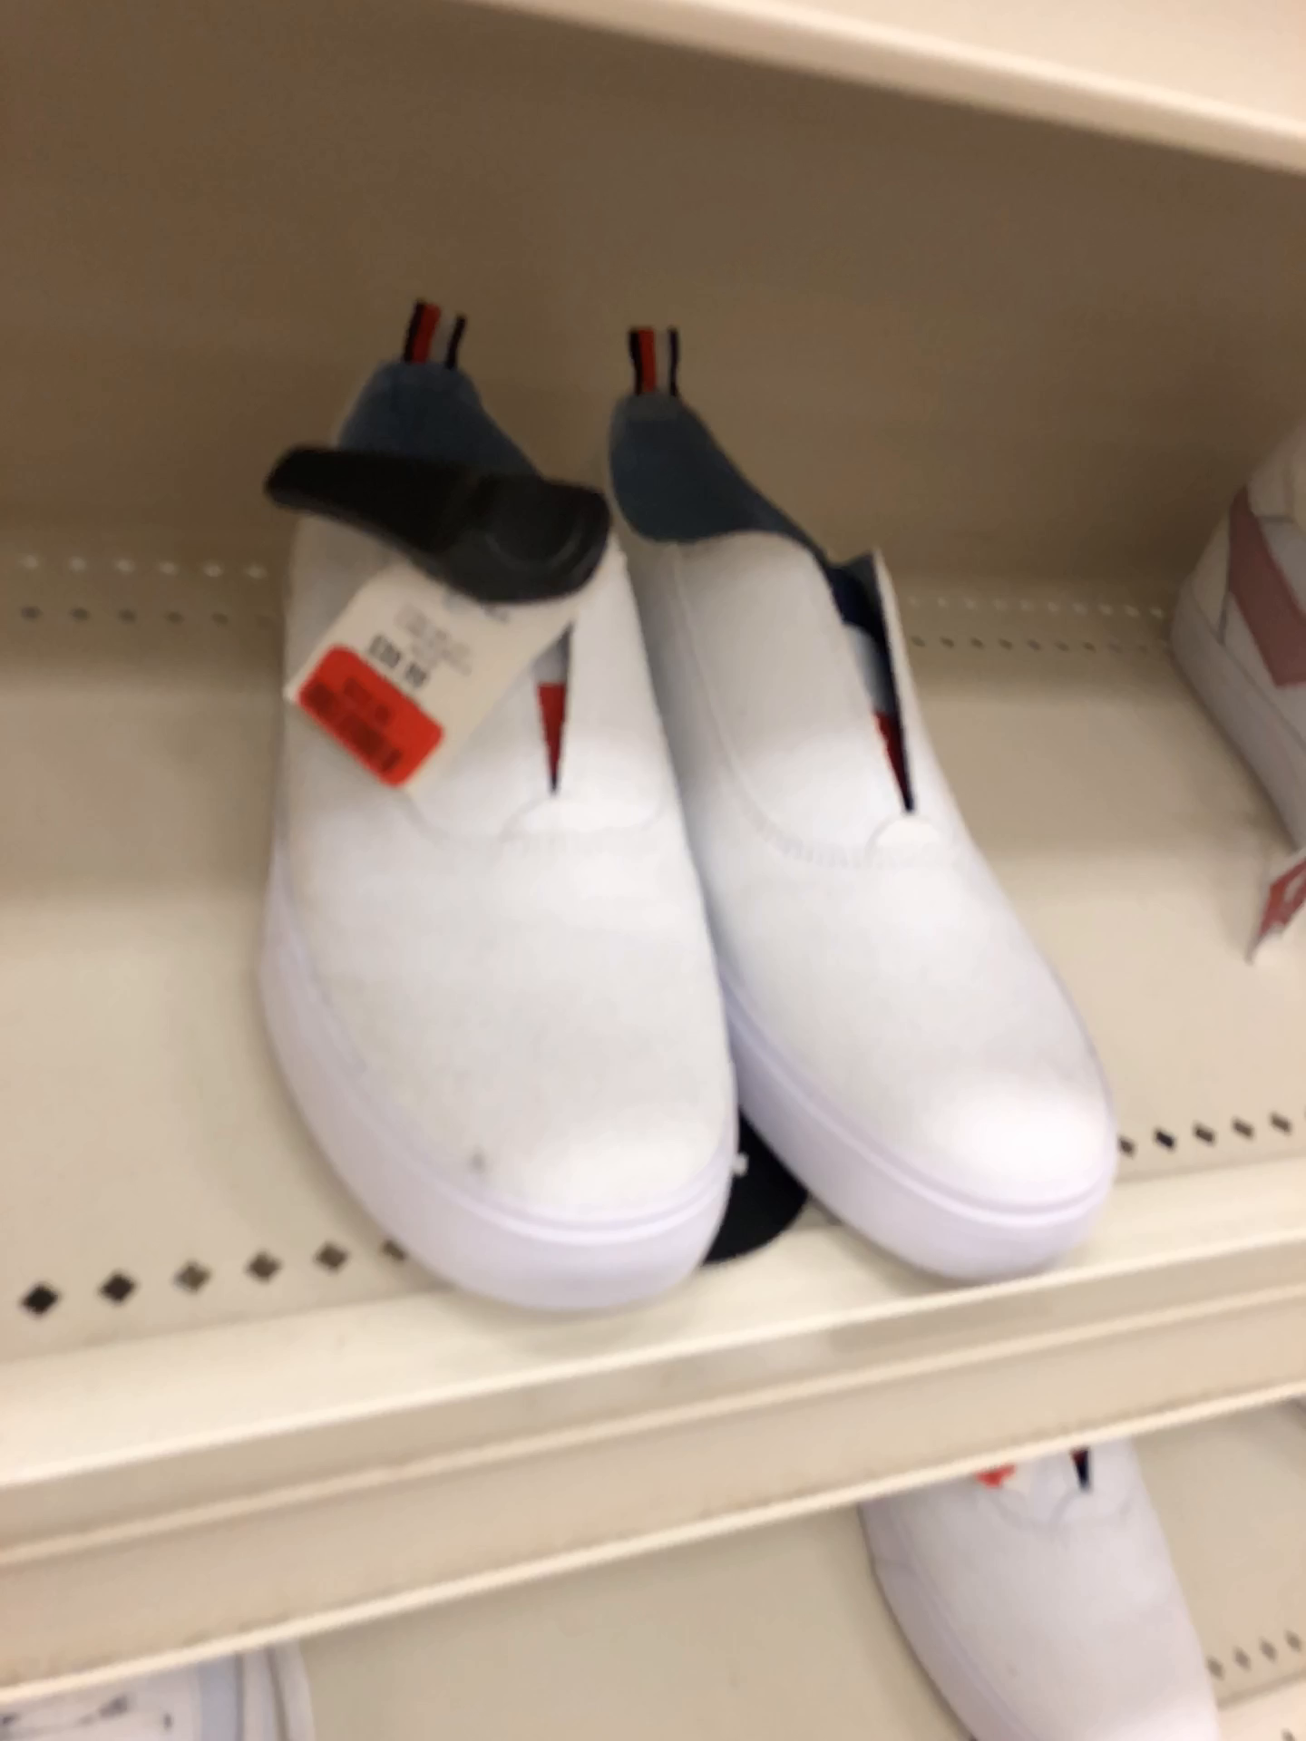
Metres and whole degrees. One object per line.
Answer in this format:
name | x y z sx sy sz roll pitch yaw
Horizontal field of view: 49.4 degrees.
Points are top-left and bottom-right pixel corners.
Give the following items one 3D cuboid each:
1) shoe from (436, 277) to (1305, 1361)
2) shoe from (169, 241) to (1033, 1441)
shoe | 0.029 -0.043 0.375 0.100 0.109 0.302 -1 40 -22
shoe | -0.045 -0.040 0.317 0.100 0.089 0.292 -1 40 -22
